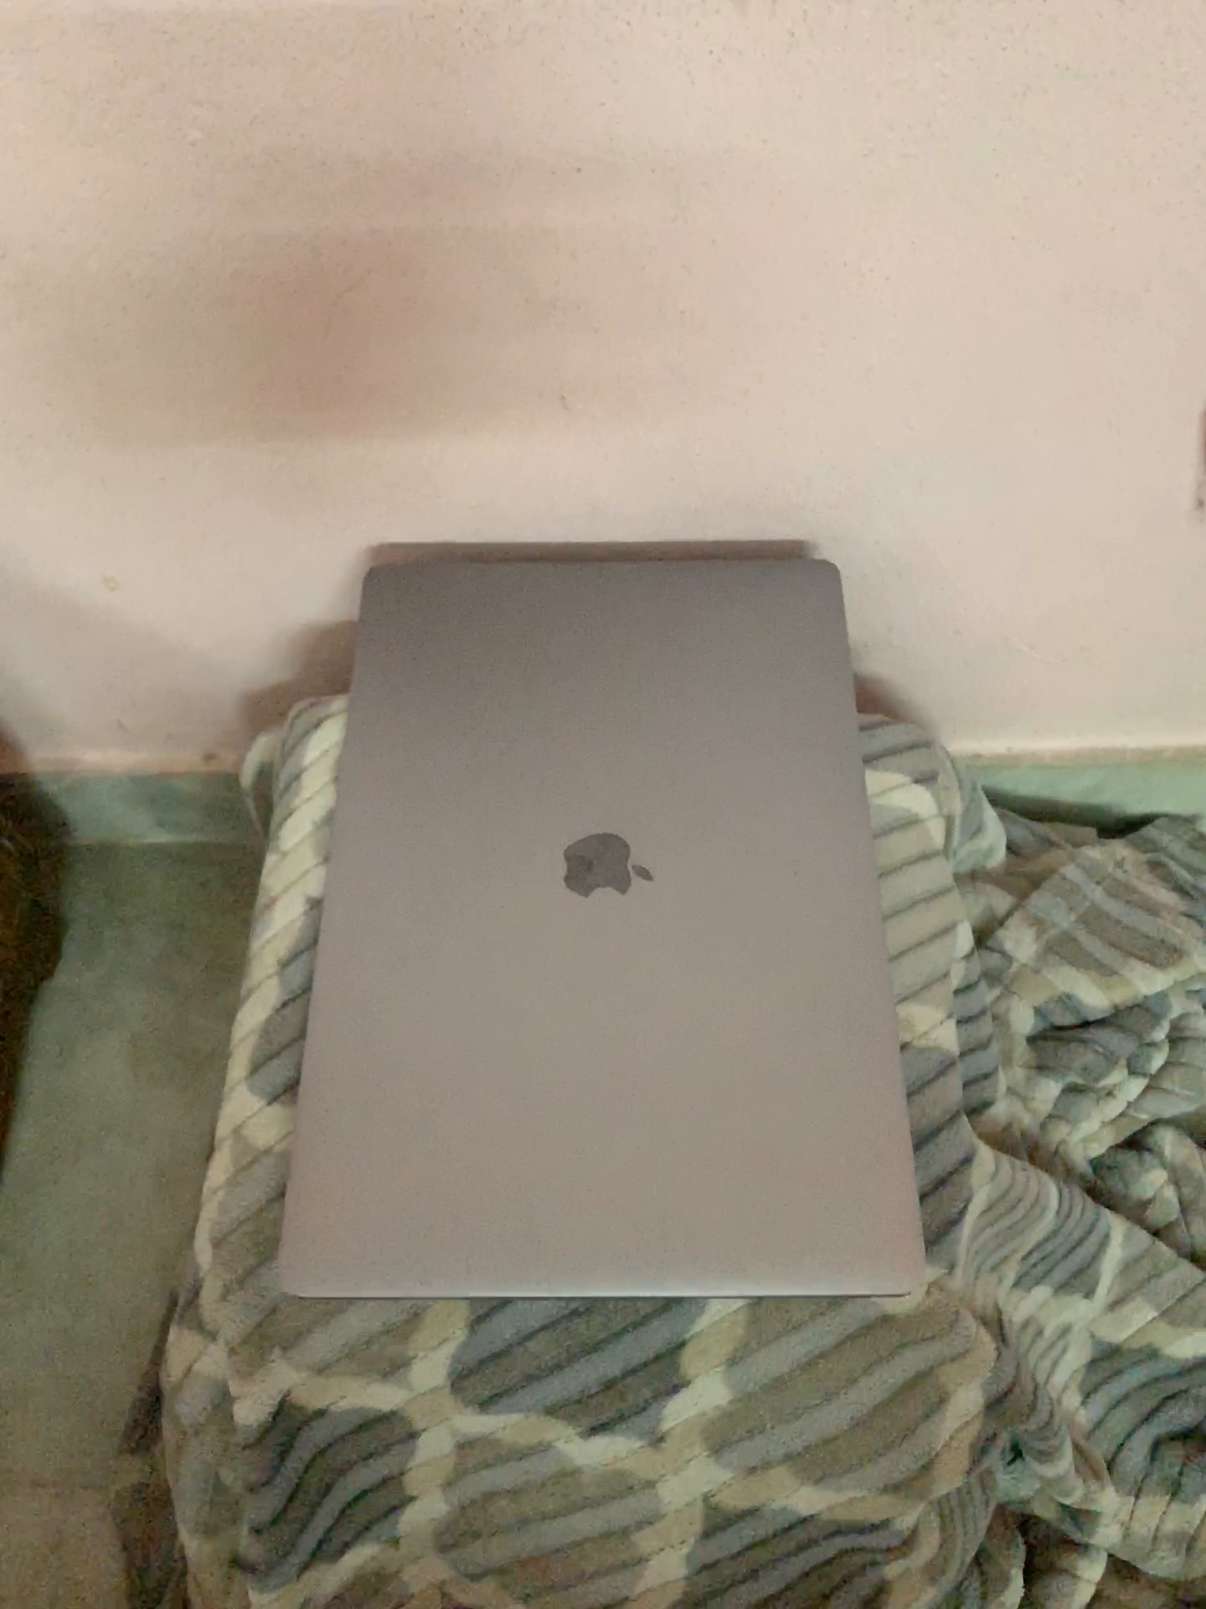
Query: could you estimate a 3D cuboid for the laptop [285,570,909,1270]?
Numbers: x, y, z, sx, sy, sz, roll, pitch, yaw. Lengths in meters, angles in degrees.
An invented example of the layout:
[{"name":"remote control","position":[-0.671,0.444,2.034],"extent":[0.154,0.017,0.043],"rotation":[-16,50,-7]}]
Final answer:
[{"name":"laptop","position":[-0.002,0.025,0.534],"extent":[0.228,0.002,0.326],"rotation":[0,60,2]}]
